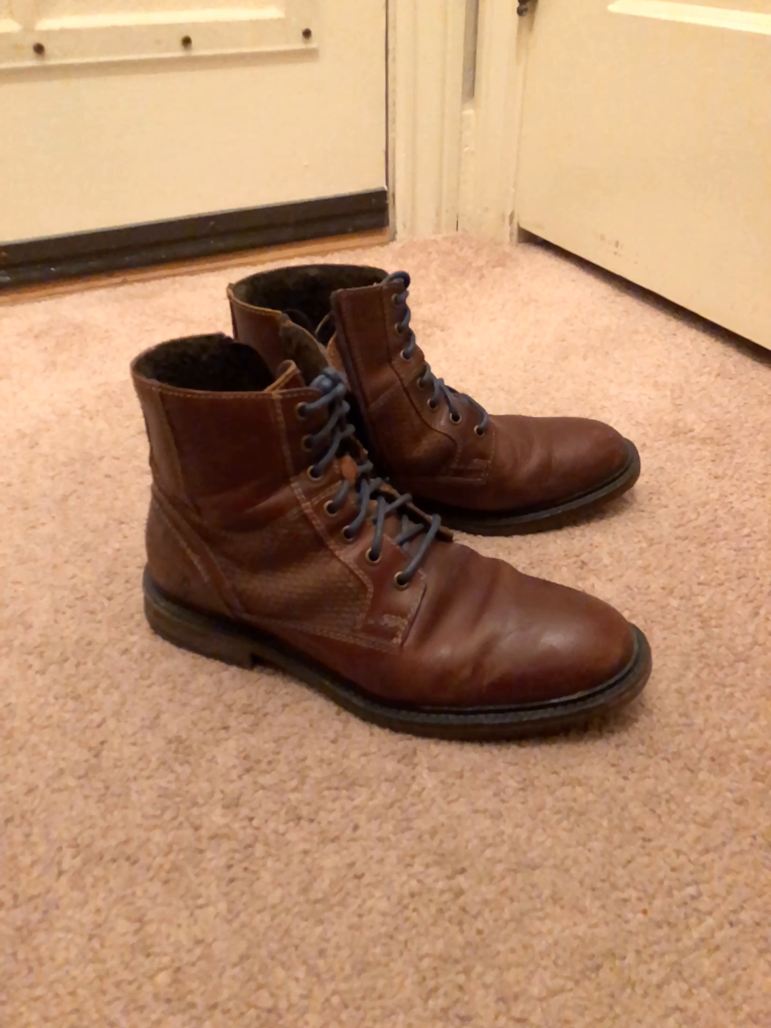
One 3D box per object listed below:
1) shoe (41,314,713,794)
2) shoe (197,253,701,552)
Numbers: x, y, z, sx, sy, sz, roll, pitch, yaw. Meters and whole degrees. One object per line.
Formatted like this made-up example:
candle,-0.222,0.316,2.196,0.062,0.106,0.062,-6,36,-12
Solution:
shoe,-0.004,0.011,0.467,0.315,0.172,0.113,12,36,16
shoe,0.037,-0.079,0.594,0.301,0.172,0.111,-1,35,-2
